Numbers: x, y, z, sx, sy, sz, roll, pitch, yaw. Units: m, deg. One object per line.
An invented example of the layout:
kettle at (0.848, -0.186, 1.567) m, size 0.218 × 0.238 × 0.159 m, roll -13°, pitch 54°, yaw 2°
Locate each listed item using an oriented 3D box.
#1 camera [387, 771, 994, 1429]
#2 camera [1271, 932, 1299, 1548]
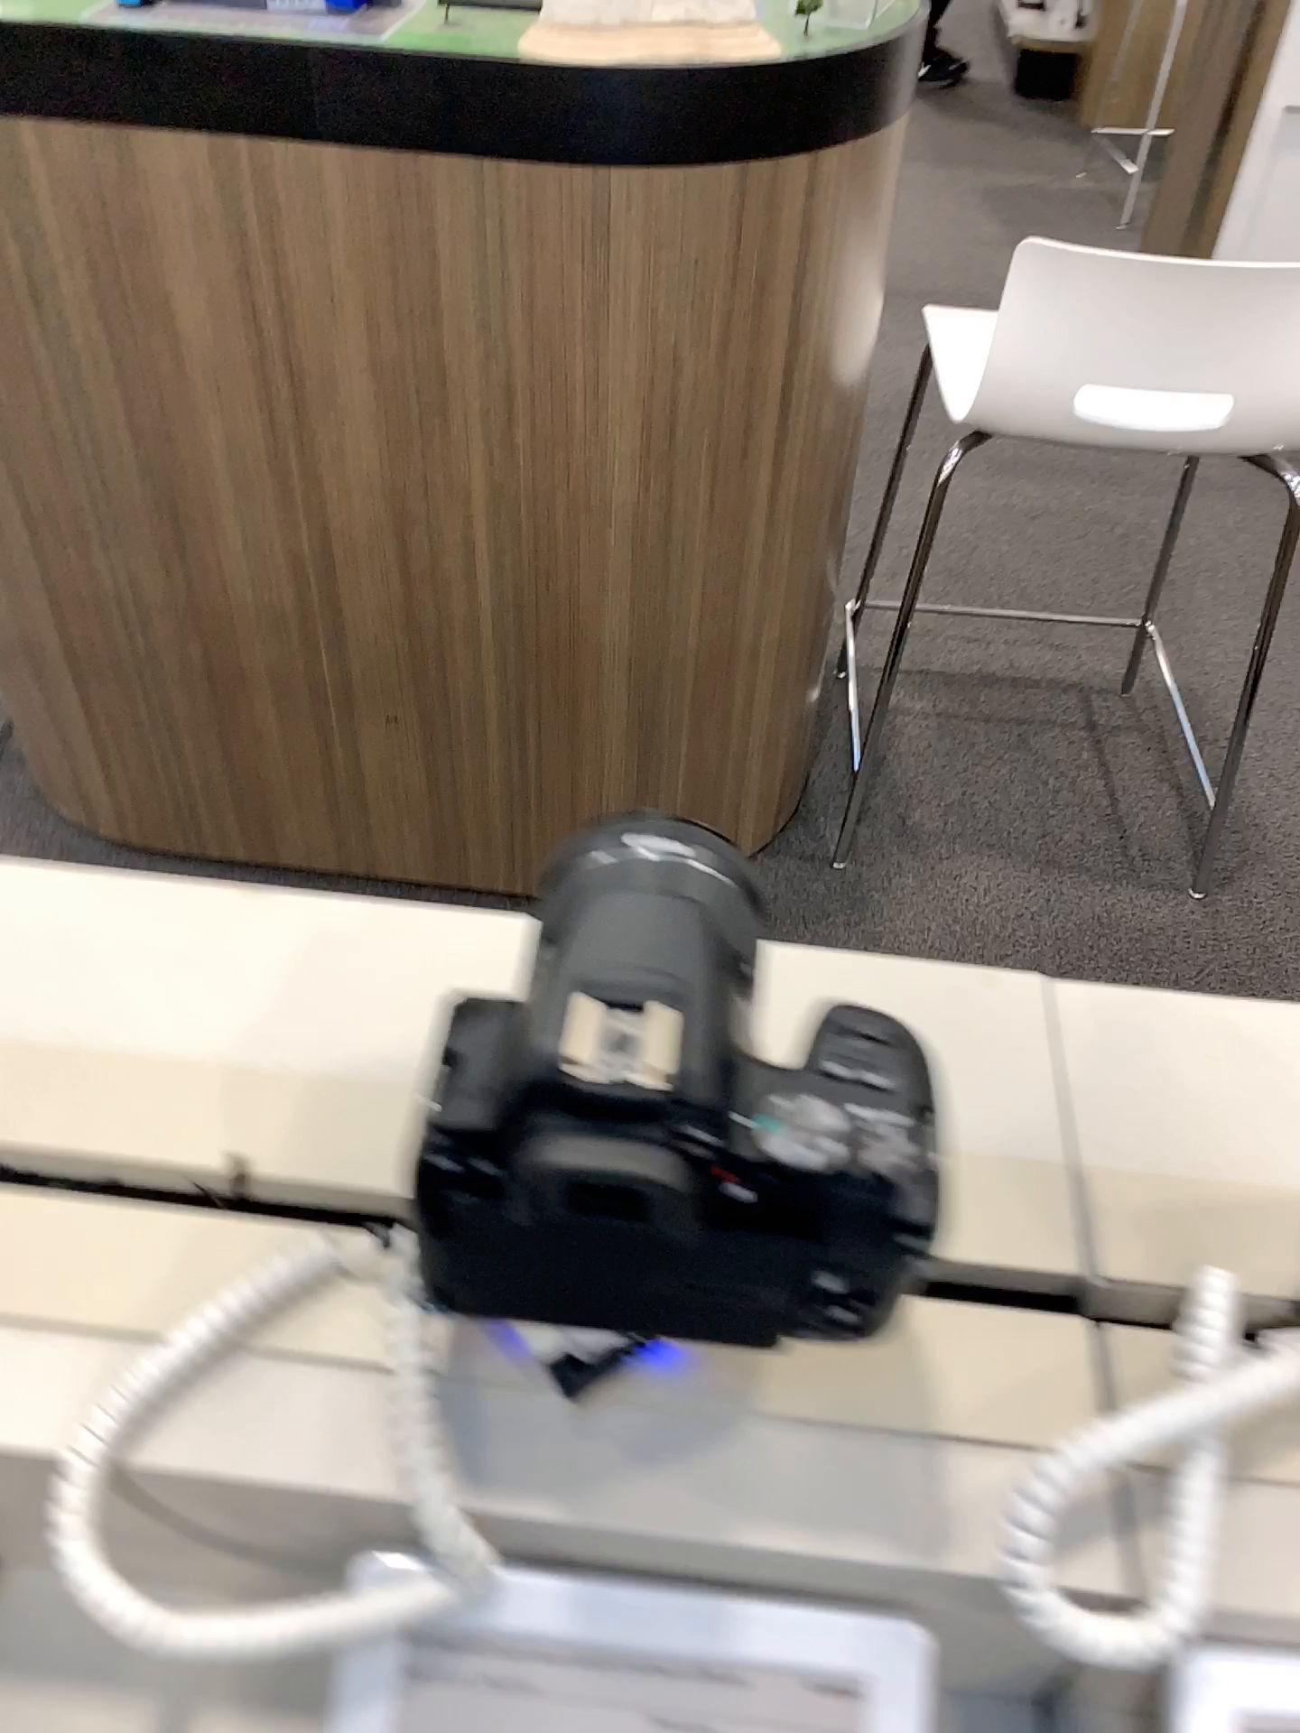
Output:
camera at (0.009, 0.056, 0.345) m, size 0.121 × 0.089 × 0.135 m, roll 3°, pitch 44°, yaw 0°
camera at (0.241, 0.090, 0.327) m, size 0.112 × 0.088 × 0.111 m, roll 3°, pitch 44°, yaw 0°
